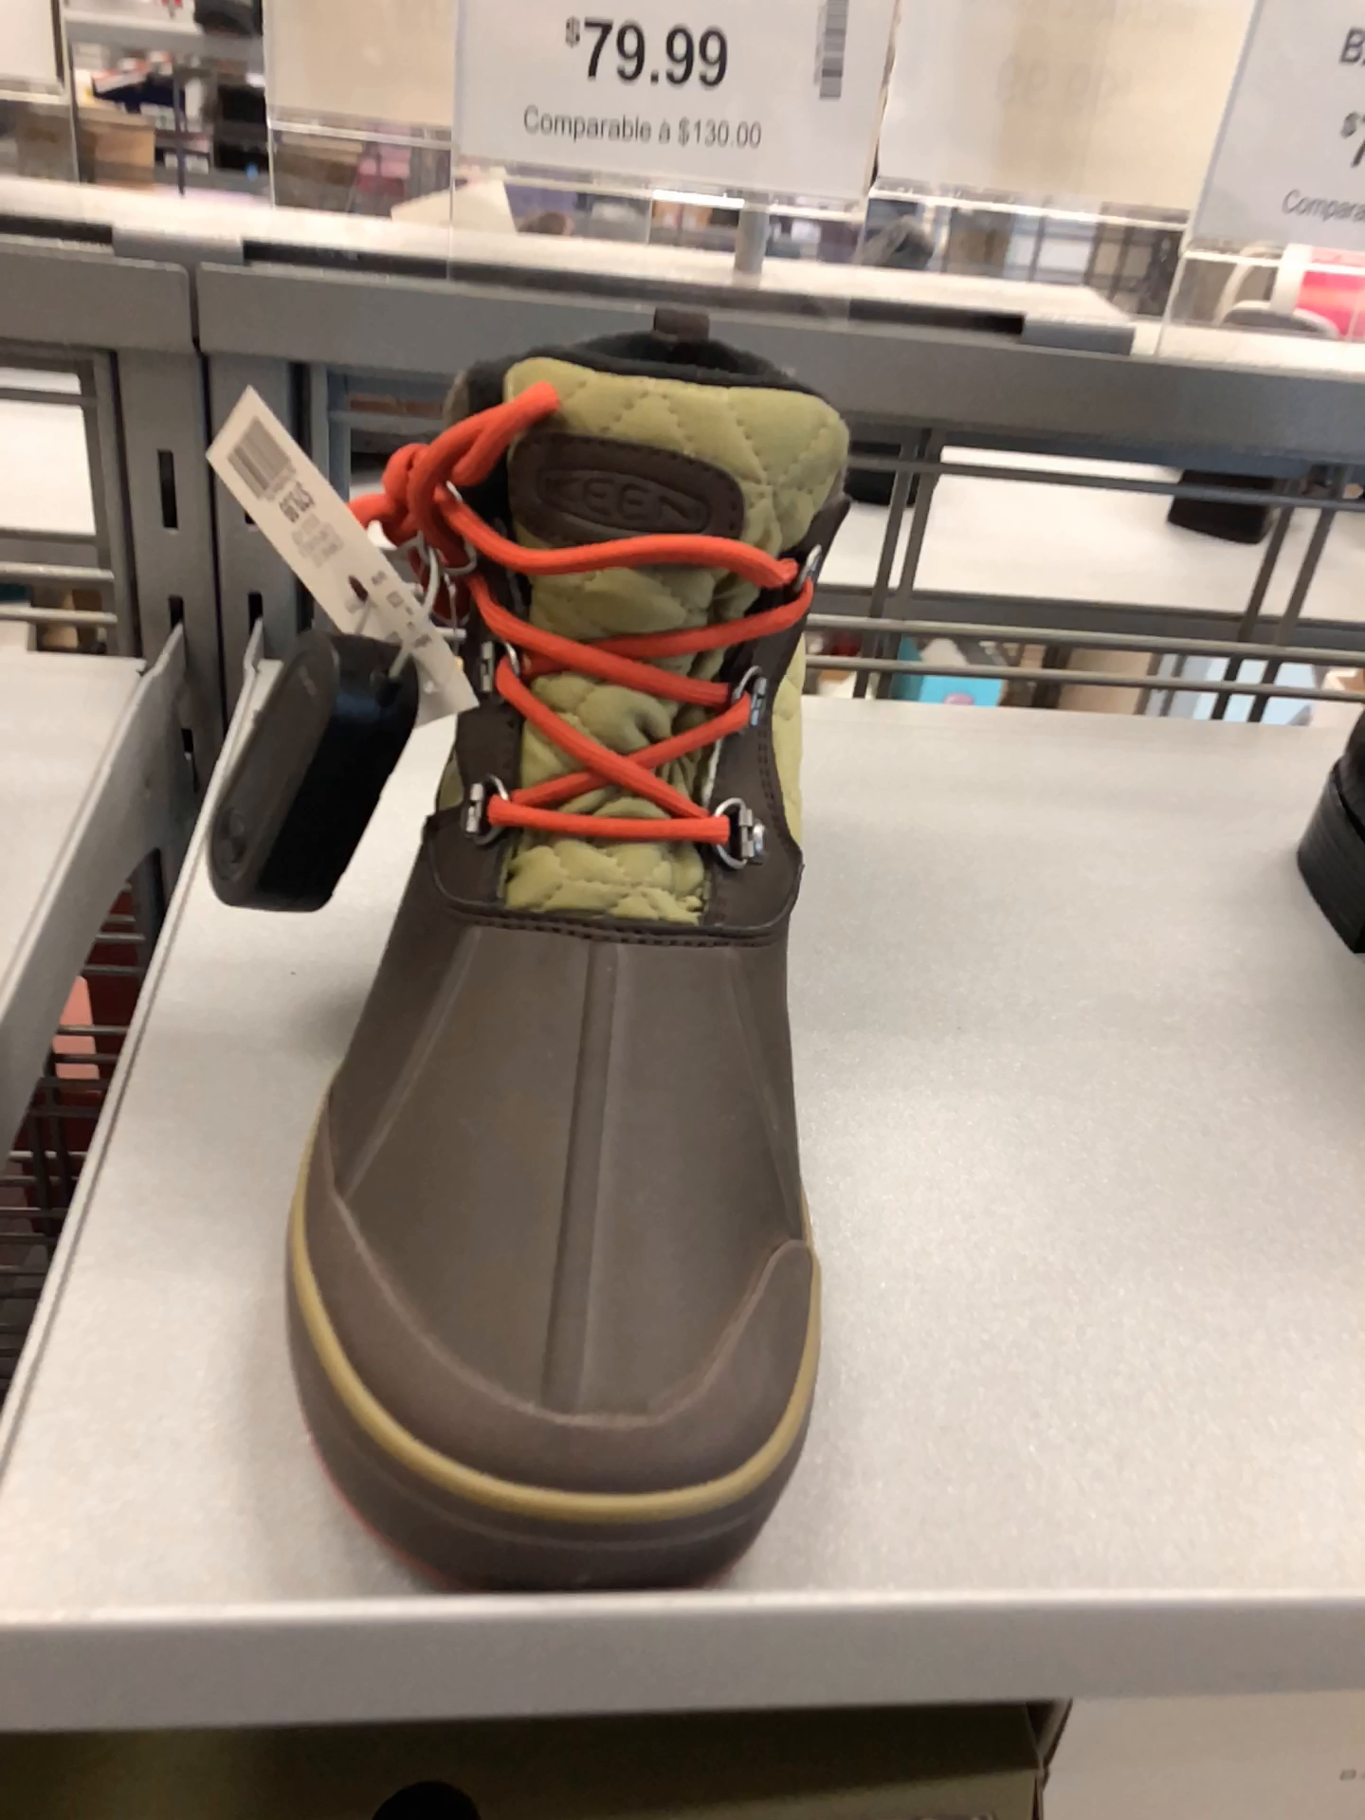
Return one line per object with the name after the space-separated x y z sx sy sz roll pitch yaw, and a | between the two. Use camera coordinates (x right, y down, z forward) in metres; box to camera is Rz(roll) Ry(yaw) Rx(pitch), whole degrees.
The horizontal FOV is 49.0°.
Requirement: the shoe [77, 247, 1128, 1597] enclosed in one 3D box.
-0.023 -0.027 0.298 0.107 0.139 0.262 4 33 -7 | shoe
